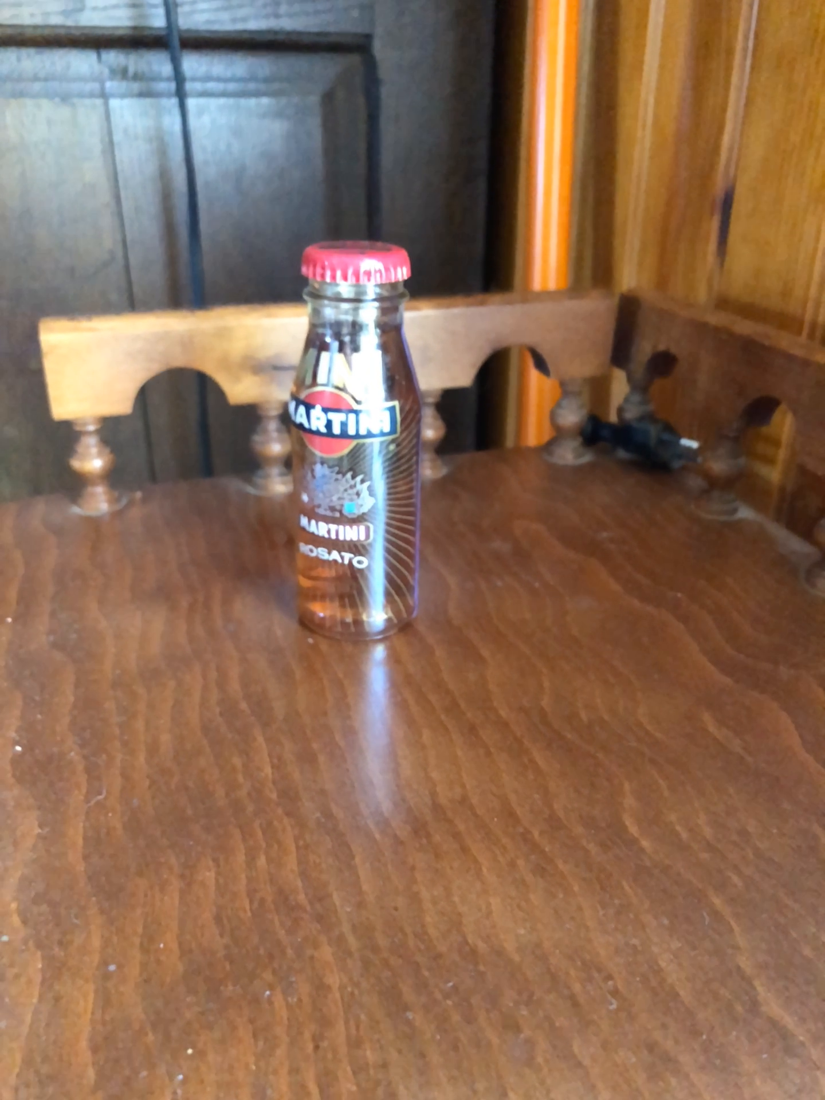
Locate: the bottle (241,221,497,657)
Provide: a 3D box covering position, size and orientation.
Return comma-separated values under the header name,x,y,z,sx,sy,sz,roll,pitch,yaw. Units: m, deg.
name,x,y,z,sx,sy,sz,roll,pitch,yaw
bottle,-0.010,-0.034,0.270,0.050,0.109,0.050,0,26,0
